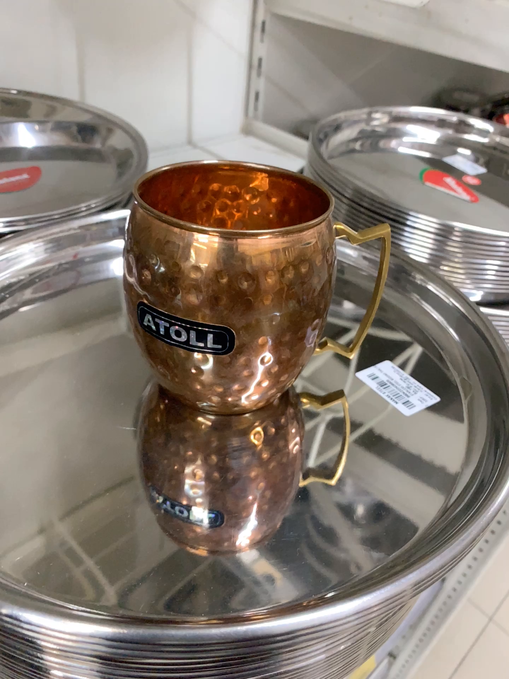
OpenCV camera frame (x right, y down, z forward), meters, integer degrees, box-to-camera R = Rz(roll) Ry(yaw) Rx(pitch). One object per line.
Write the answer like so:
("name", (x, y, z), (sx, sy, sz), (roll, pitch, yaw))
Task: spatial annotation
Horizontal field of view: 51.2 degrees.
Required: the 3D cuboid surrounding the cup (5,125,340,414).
("cup", (-0.032, -0.032, 0.239), (0.110, 0.090, 0.090), (2, 38, -5))
